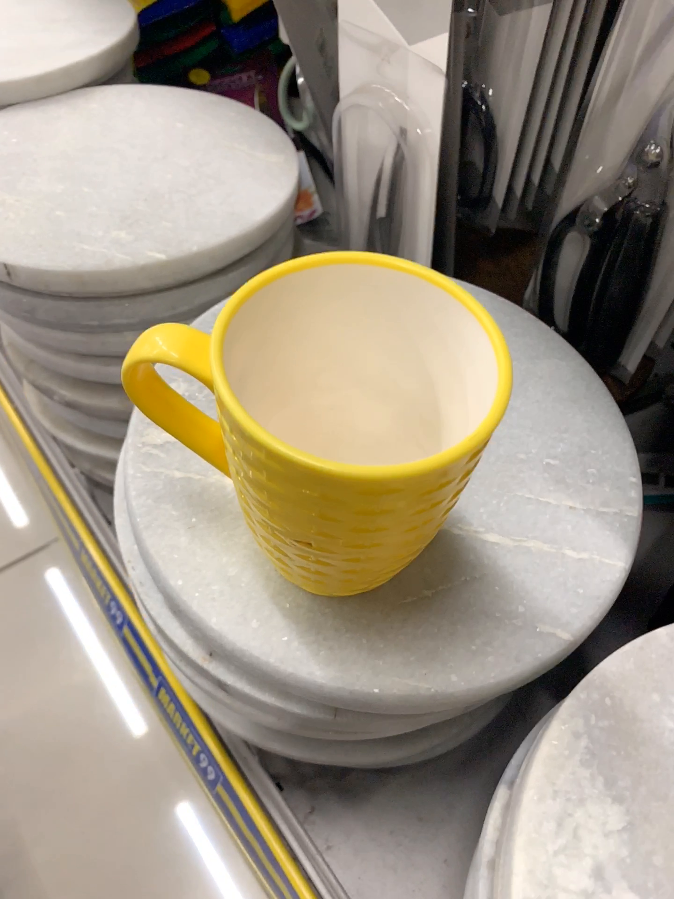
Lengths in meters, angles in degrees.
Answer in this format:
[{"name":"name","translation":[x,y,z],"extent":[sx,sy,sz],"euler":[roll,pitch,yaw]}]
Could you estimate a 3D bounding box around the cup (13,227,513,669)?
[{"name":"cup","translation":[-0.014,0.001,0.228],"extent":[0.120,0.090,0.090],"euler":[9,52,4]}]
